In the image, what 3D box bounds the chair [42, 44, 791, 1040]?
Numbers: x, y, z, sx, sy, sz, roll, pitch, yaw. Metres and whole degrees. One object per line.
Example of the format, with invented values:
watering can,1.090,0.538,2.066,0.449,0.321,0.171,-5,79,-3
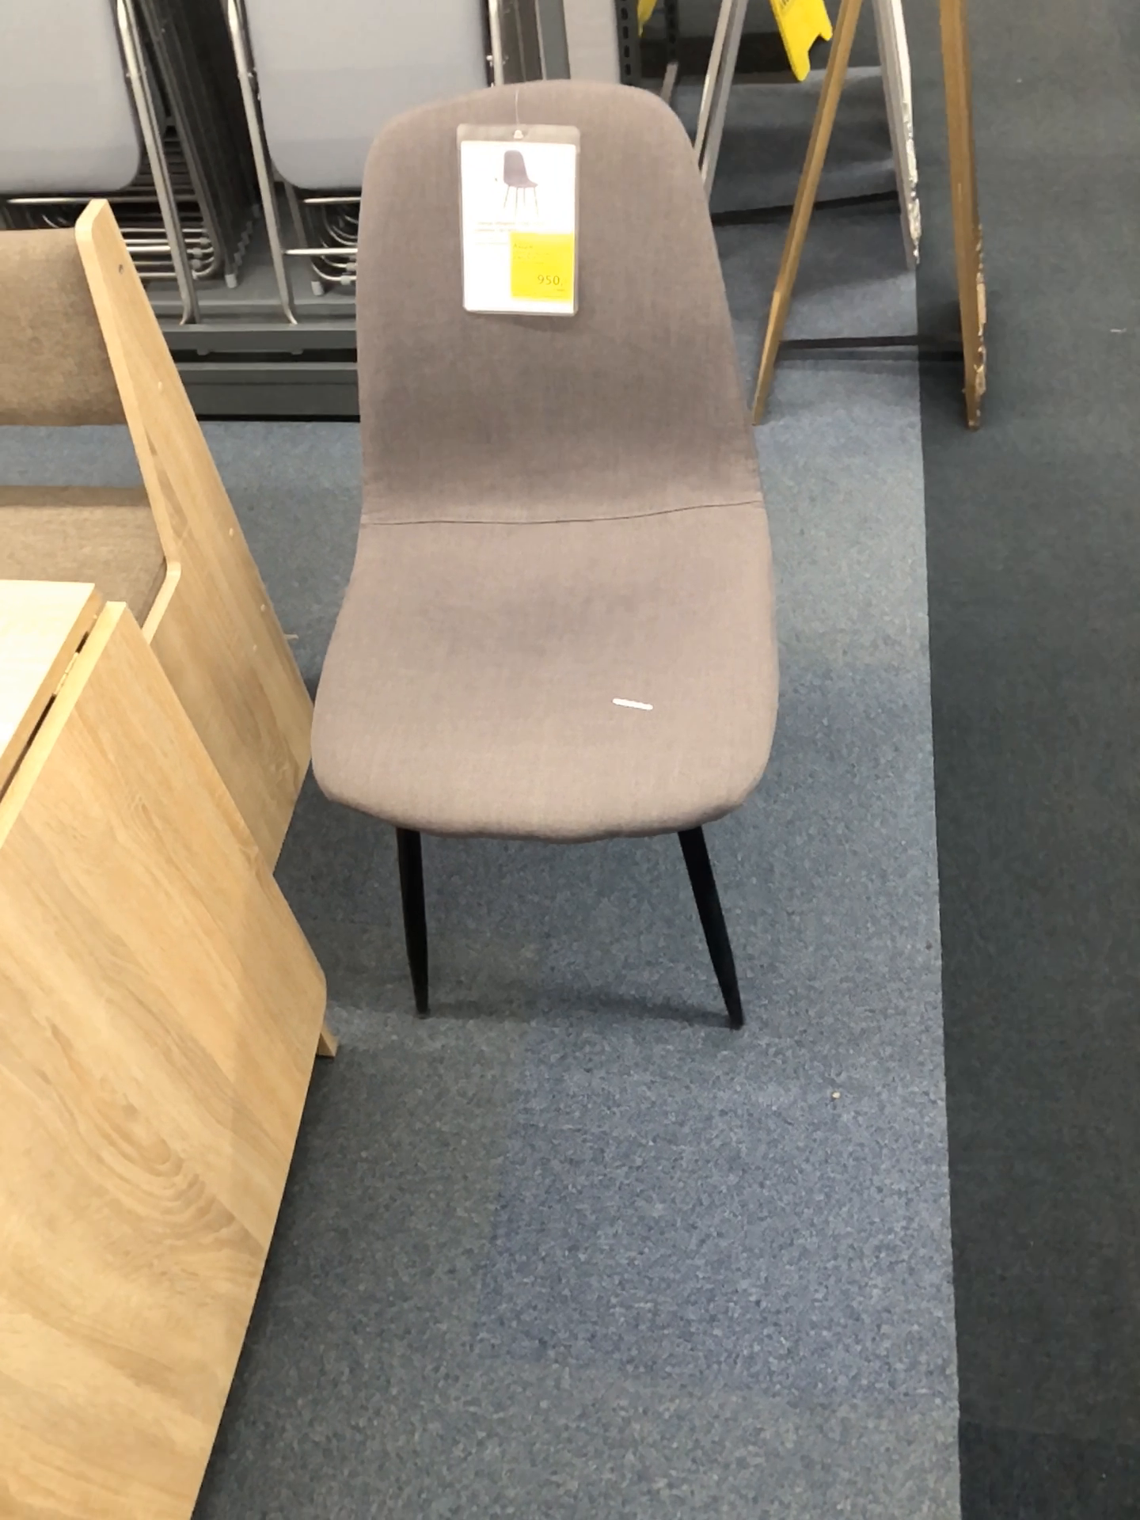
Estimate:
chair,-0.037,-0.157,1.257,0.480,0.807,0.542,1,52,8
